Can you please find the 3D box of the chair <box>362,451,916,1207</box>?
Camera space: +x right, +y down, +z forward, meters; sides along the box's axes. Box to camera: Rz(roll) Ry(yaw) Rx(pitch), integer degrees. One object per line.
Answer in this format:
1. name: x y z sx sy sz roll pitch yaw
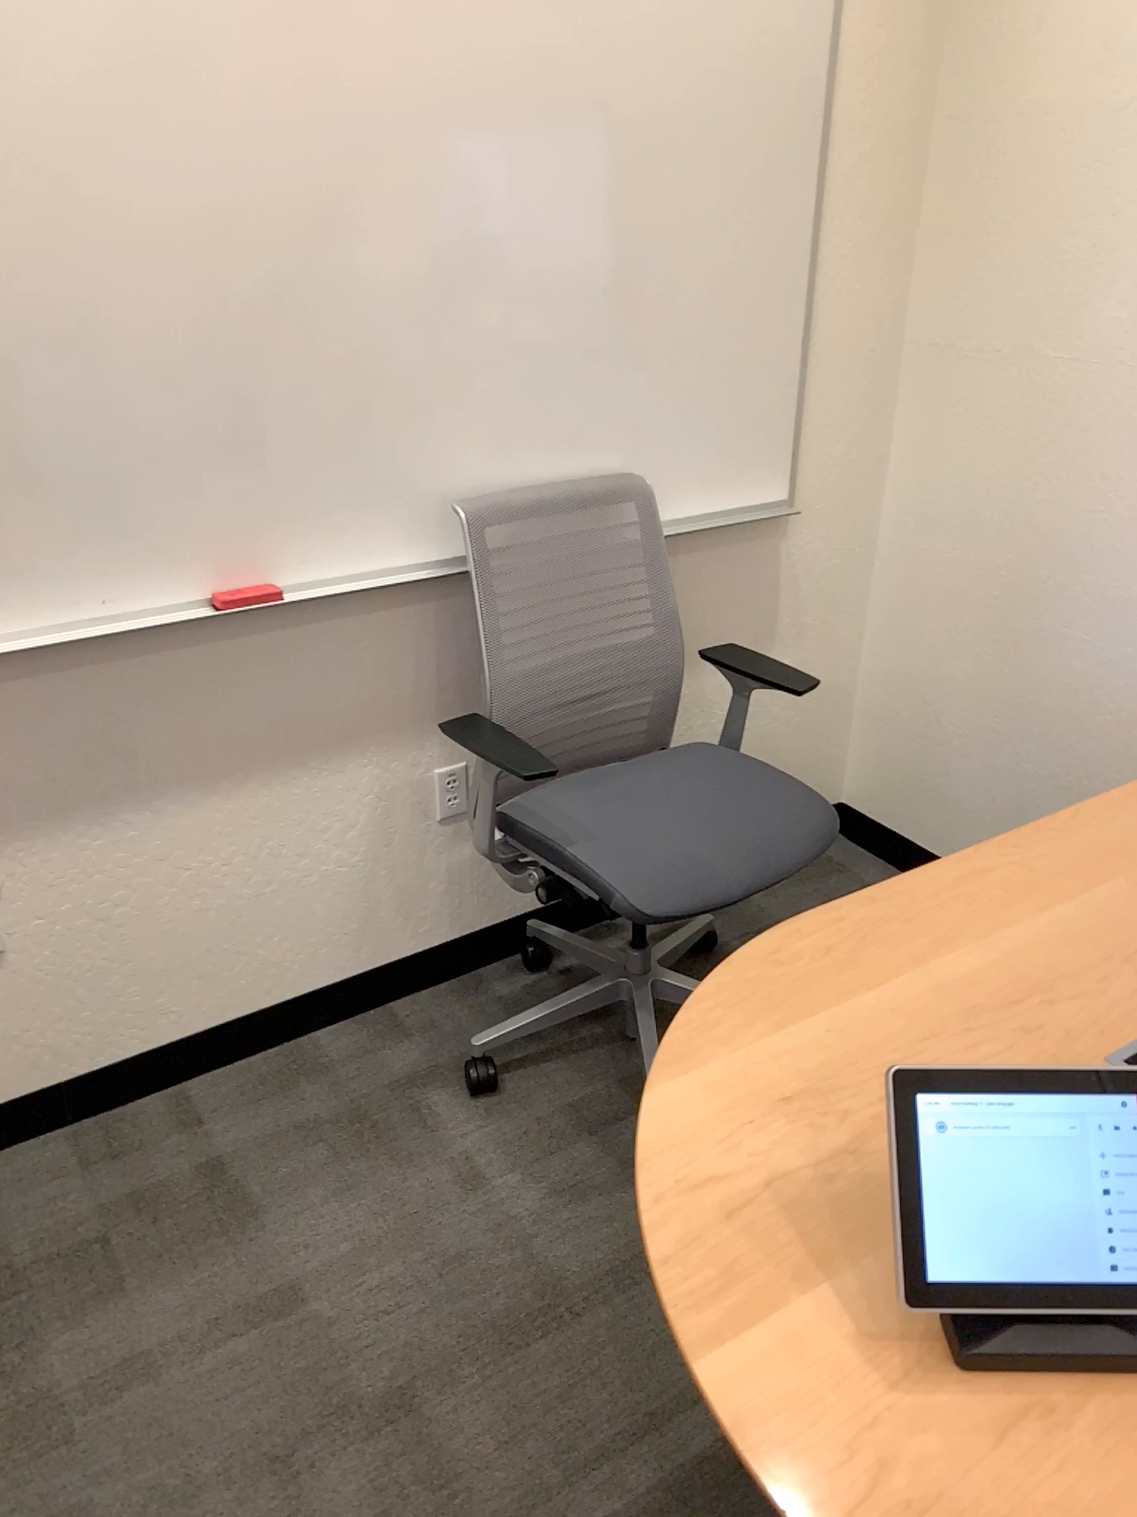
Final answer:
1. chair: 0.110 0.073 2.475 0.761 1.263 0.753 -16 29 -35
